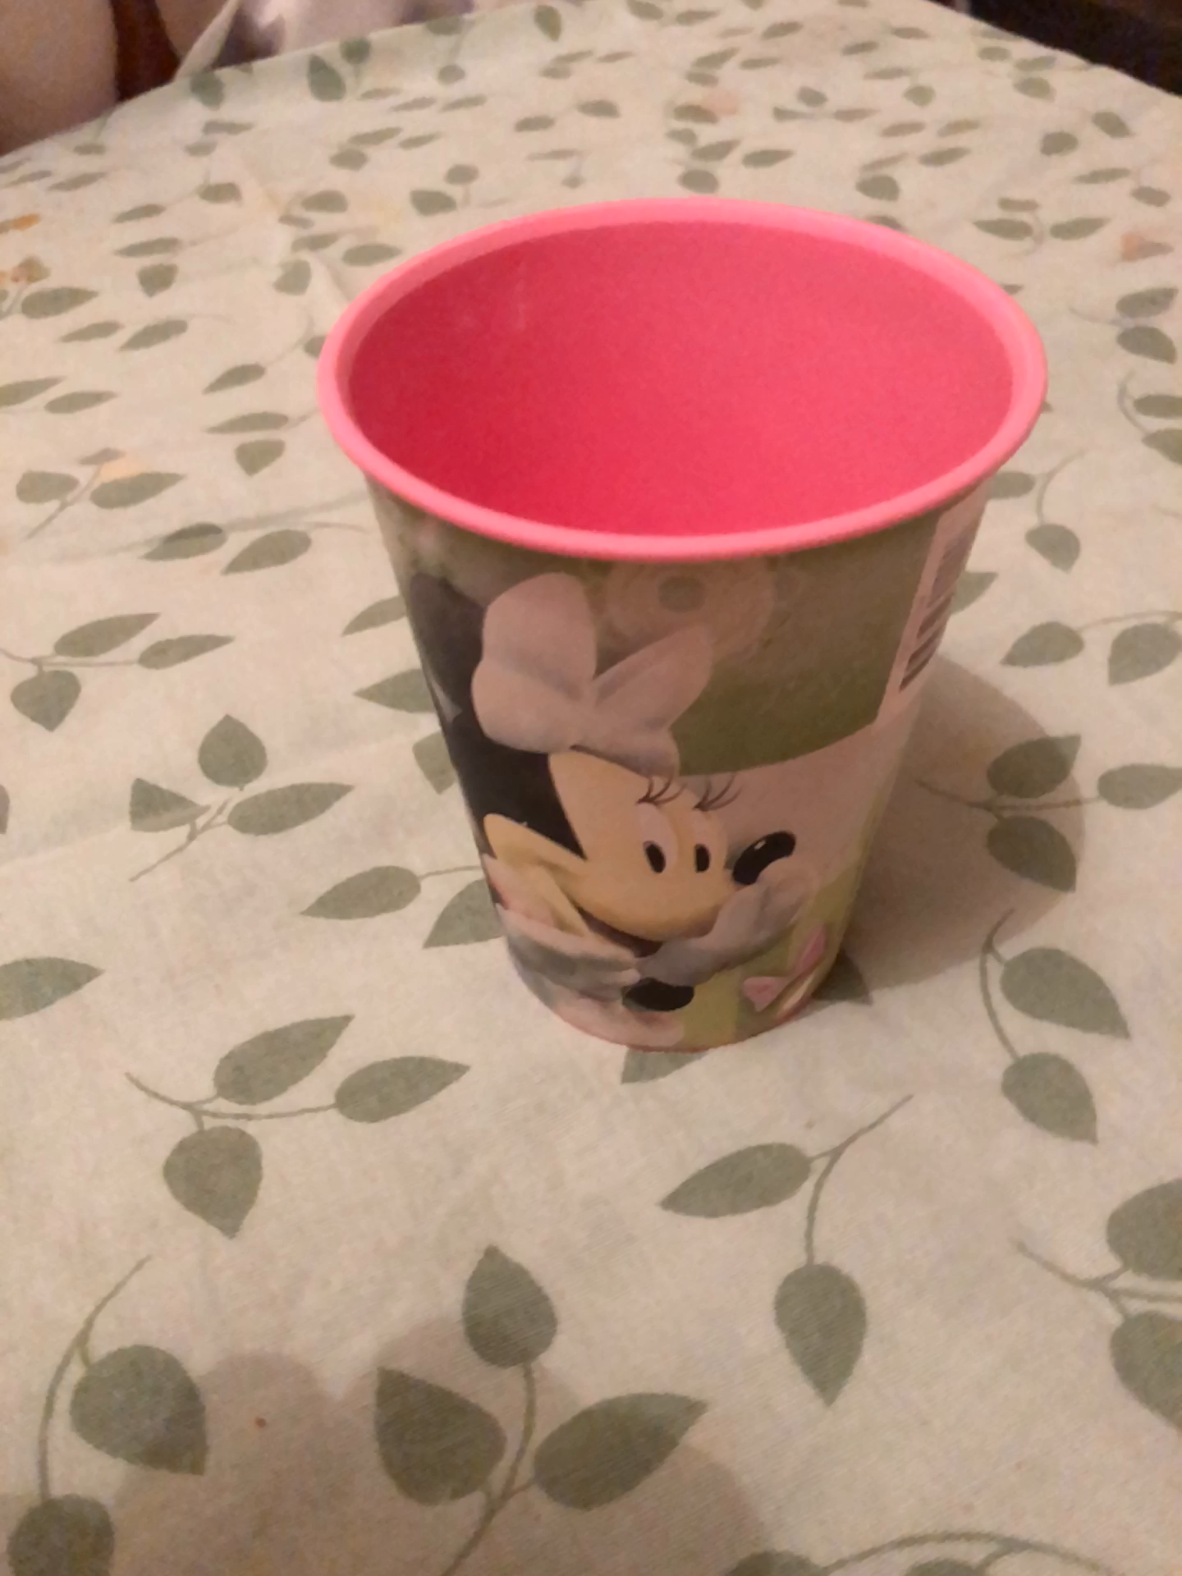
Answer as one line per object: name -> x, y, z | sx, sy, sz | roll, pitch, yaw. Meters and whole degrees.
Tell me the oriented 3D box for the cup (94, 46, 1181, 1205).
cup -> 0.013, -0.029, 0.206 | 0.100, 0.119, 0.101 | -1, 45, 1
